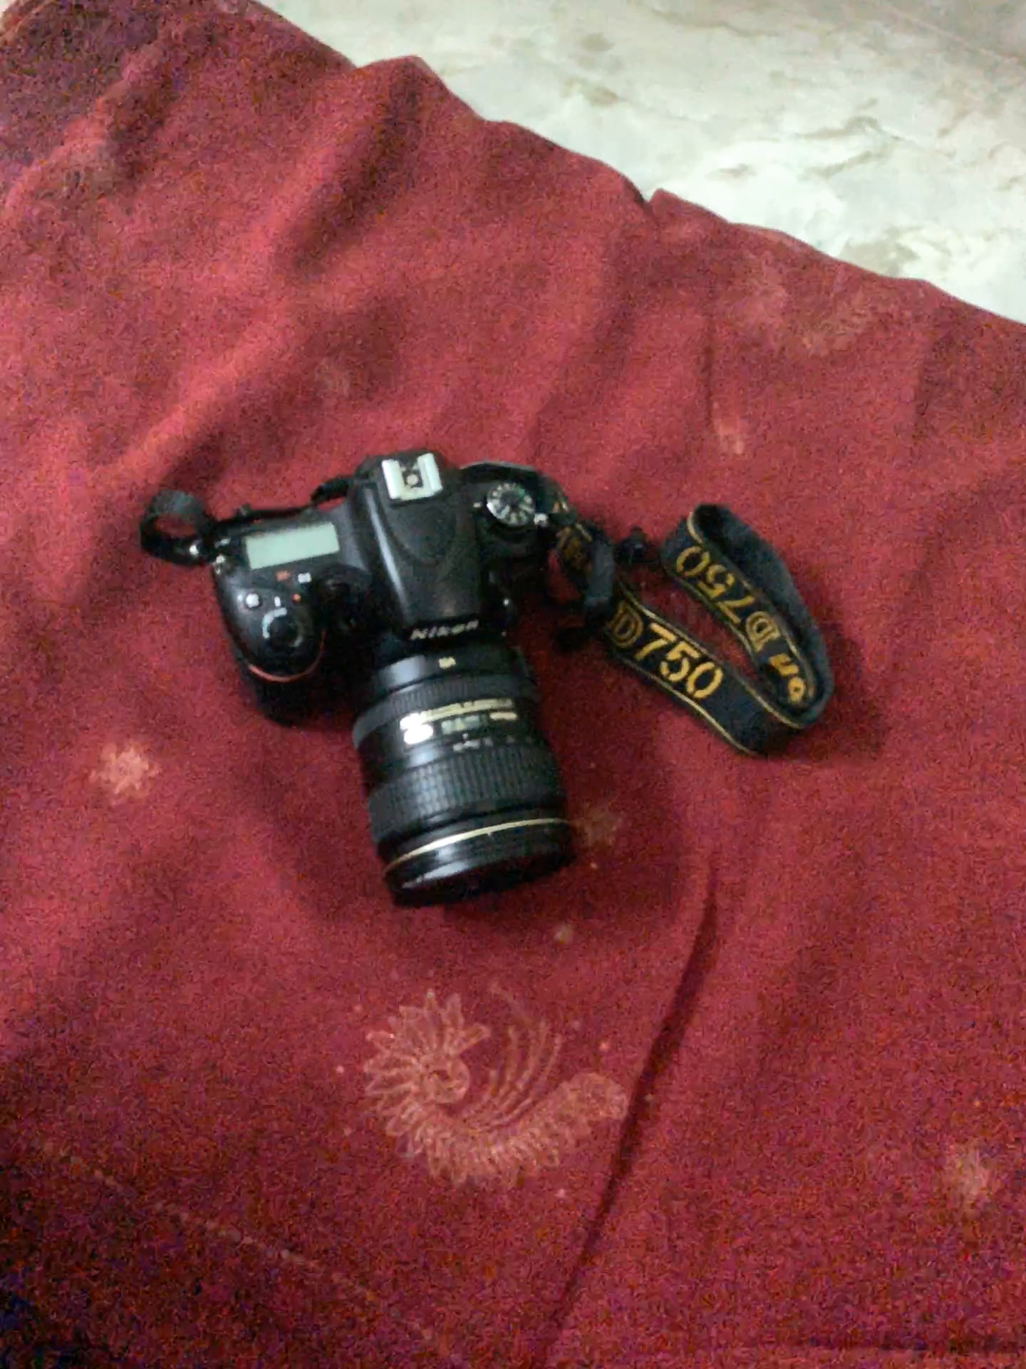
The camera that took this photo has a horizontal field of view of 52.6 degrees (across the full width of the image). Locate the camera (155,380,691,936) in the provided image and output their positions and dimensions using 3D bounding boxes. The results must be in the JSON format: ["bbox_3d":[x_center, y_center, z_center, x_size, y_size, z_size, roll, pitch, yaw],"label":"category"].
[{"bbox_3d":[-0.039,-0.008,0.403,0.150,0.110,0.160,-11,70,-10],"label":"camera"}]
